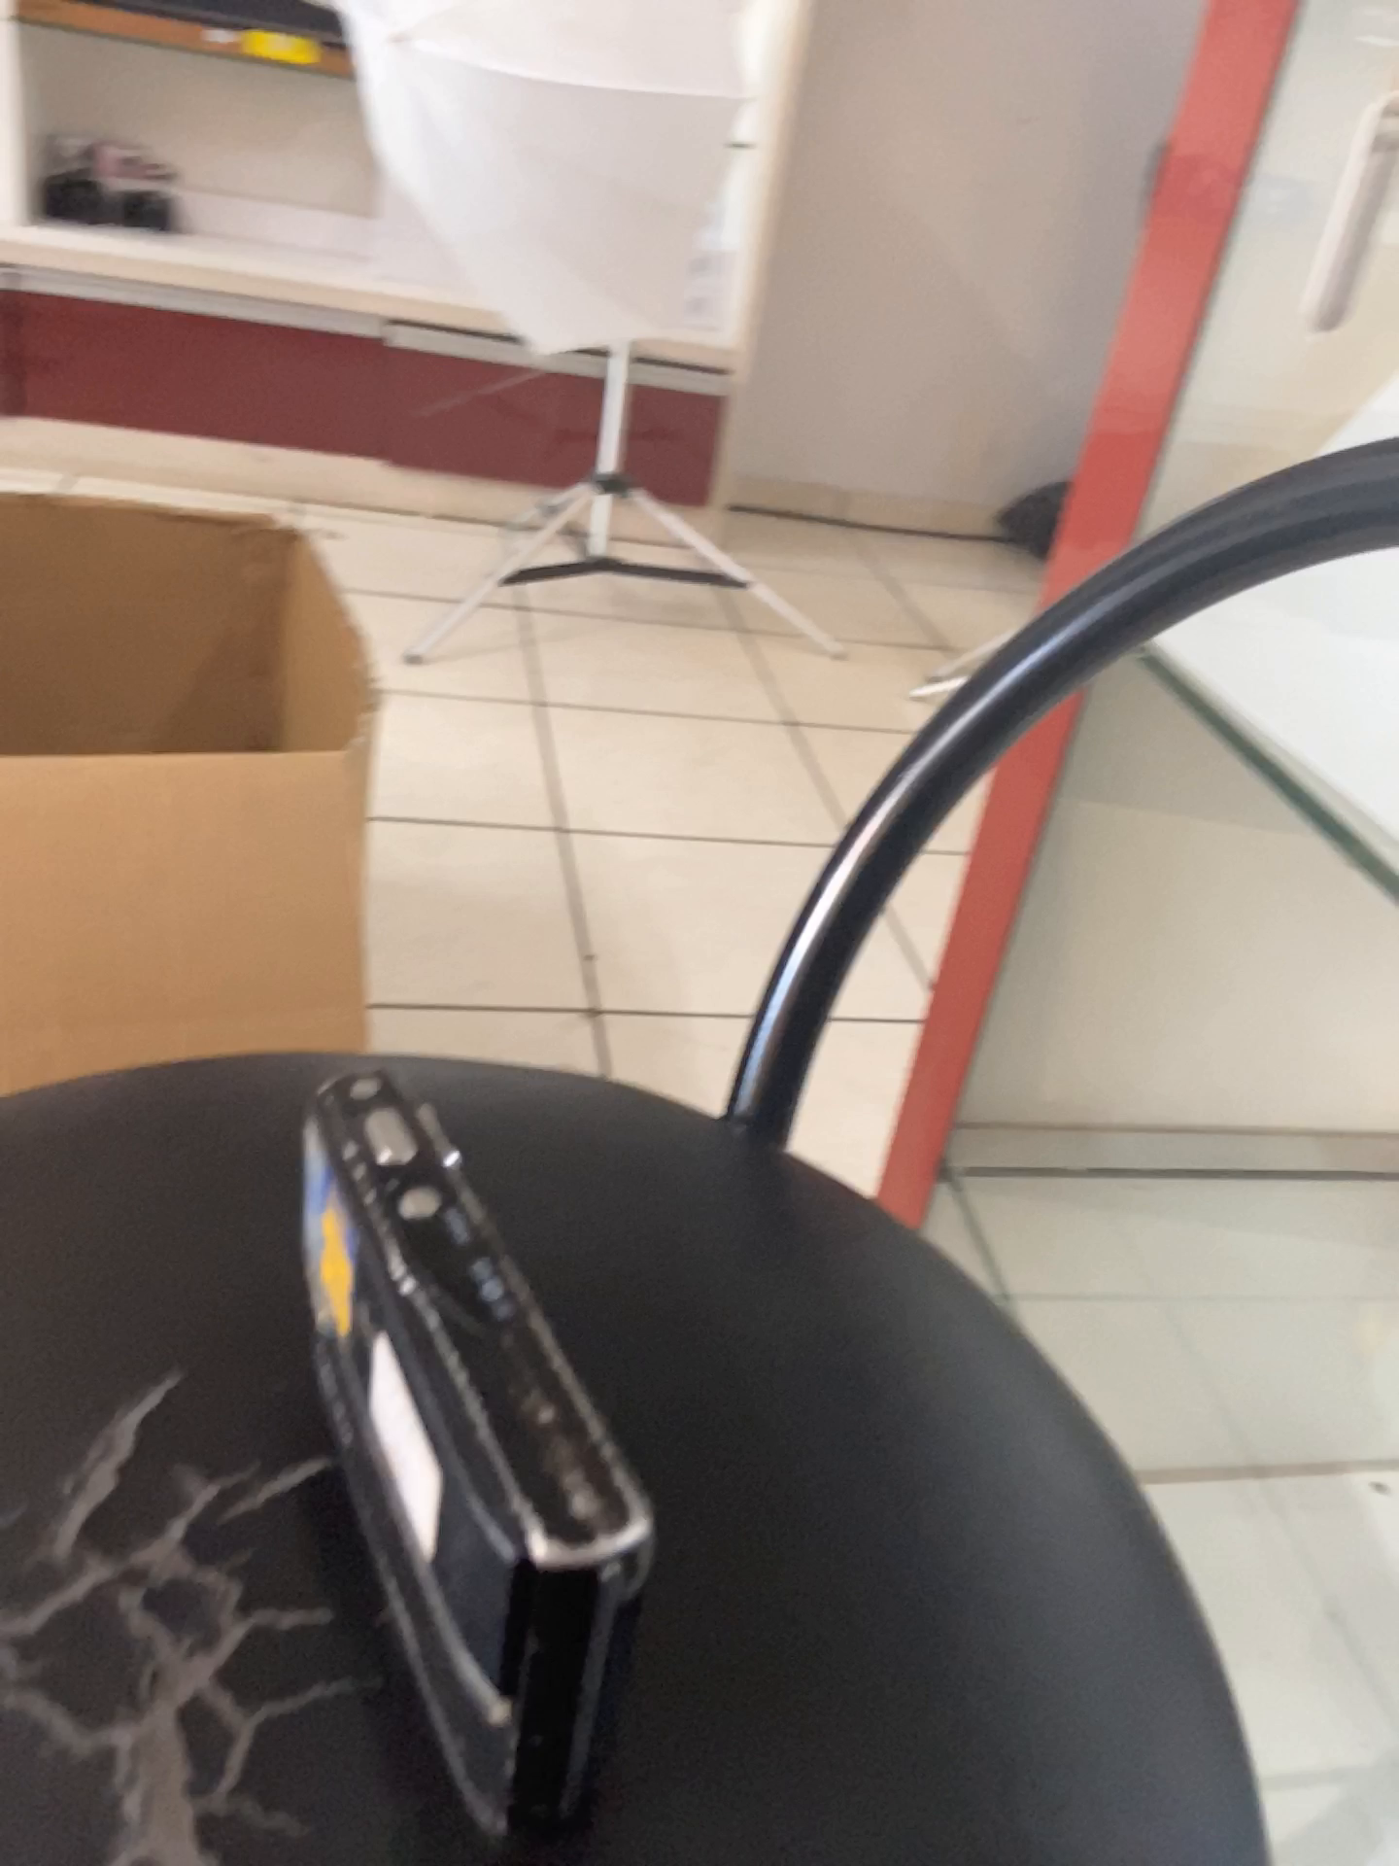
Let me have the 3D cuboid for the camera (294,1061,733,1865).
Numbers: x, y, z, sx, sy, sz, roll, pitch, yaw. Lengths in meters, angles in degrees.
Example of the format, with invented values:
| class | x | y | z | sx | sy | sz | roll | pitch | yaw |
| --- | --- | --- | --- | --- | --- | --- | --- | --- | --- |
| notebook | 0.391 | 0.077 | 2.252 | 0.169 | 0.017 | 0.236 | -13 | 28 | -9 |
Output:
| class | x | y | z | sx | sy | sz | roll | pitch | yaw |
| --- | --- | --- | --- | --- | --- | --- | --- | --- | --- |
| camera | -0.033 | 0.073 | 0.201 | 0.020 | 0.060 | 0.100 | -8 | 35 | -28 |
